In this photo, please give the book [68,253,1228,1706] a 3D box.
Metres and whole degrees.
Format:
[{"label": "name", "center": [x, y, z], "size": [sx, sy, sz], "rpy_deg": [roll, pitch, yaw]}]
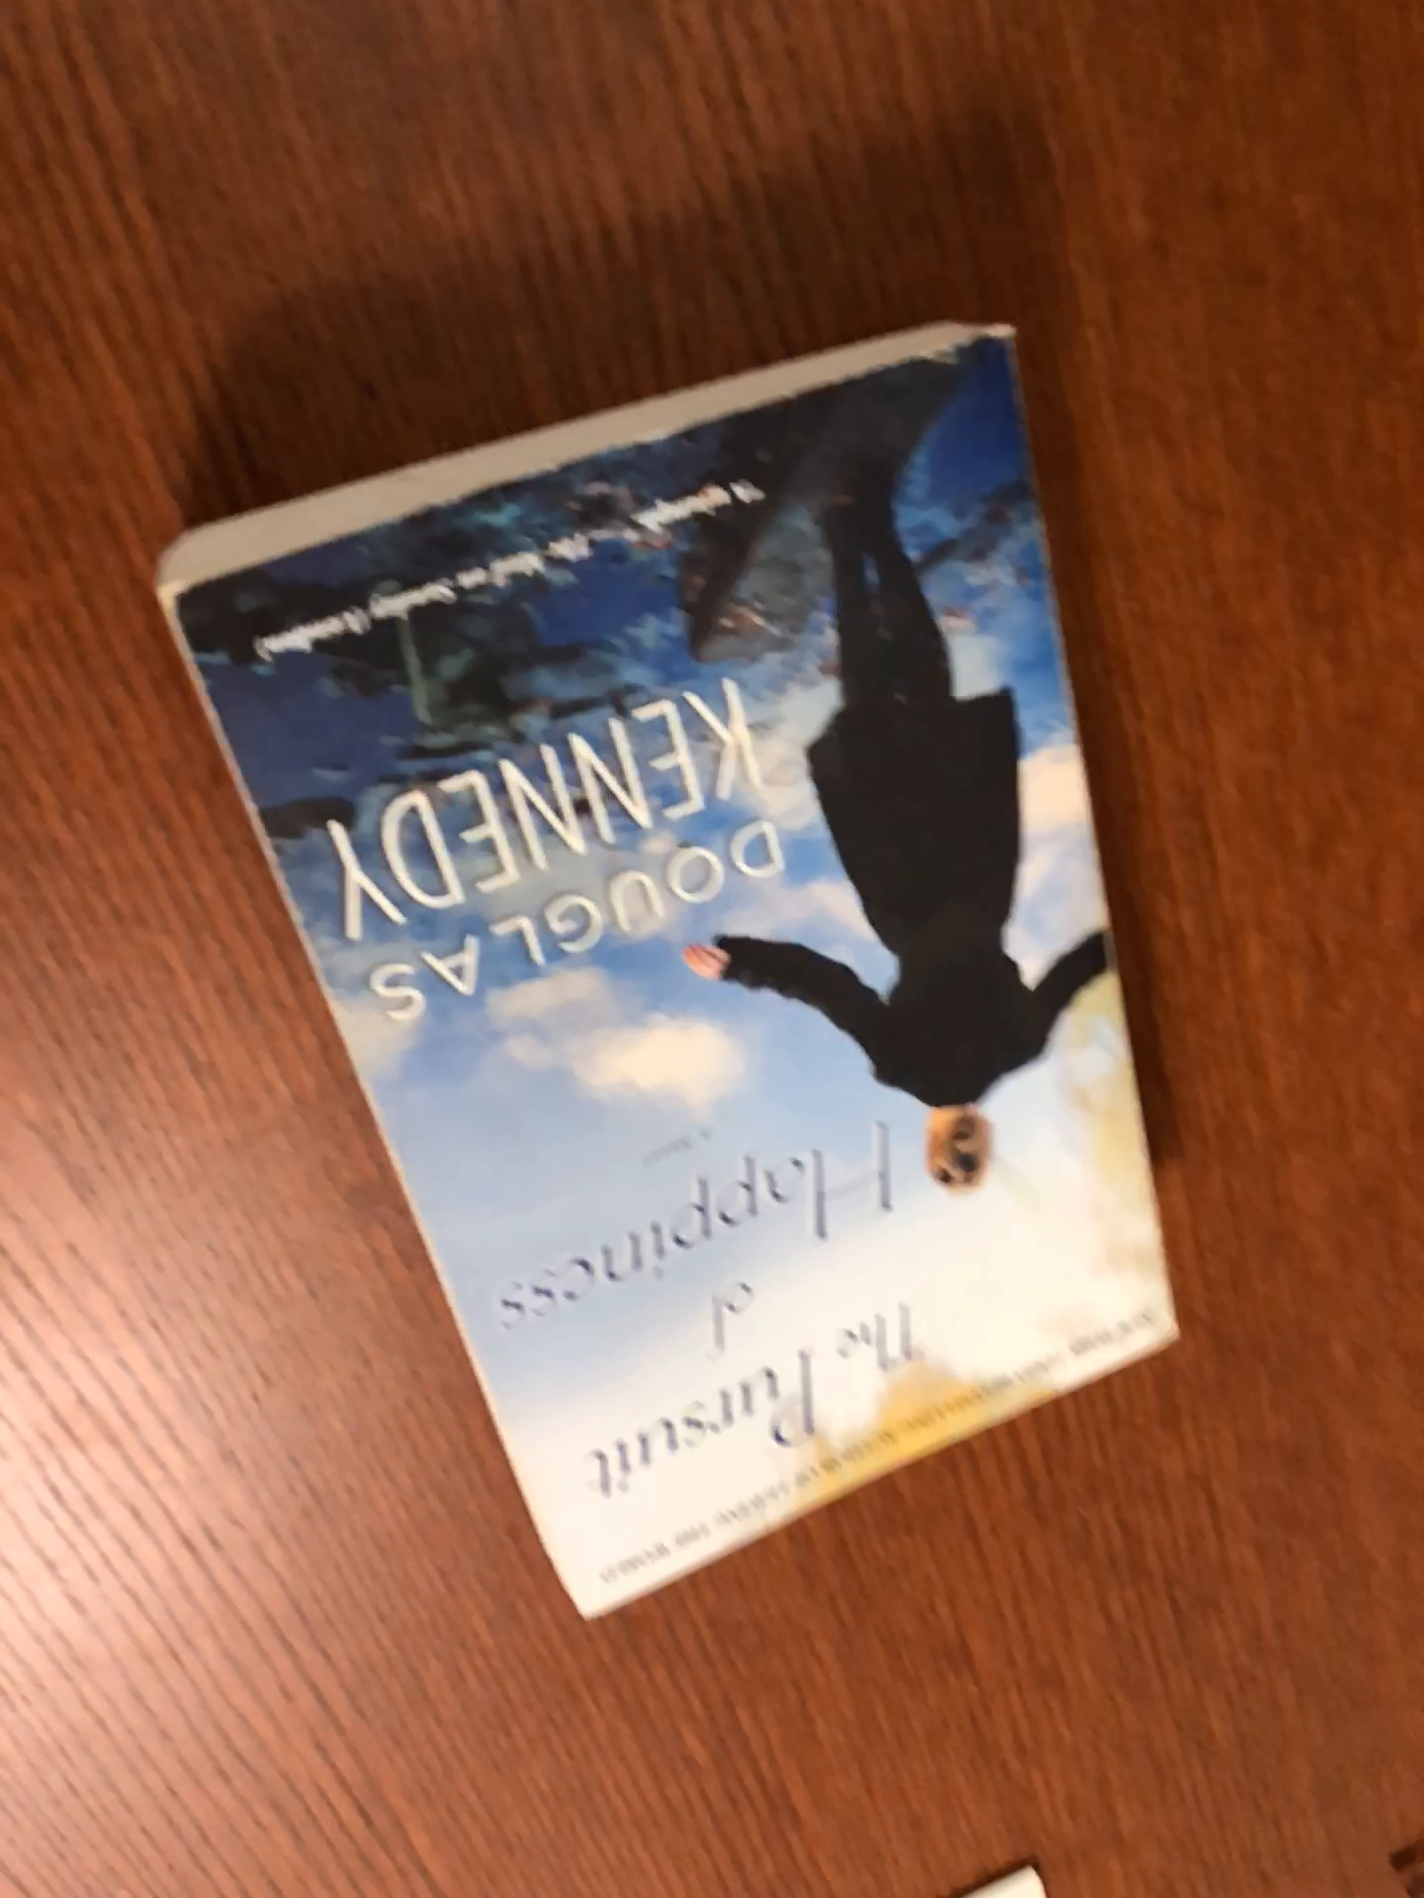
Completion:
[{"label": "book", "center": [0.004, 0.013, 0.308], "size": [0.160, 0.050, 0.240], "rpy_deg": [-20, 113, -11]}]
